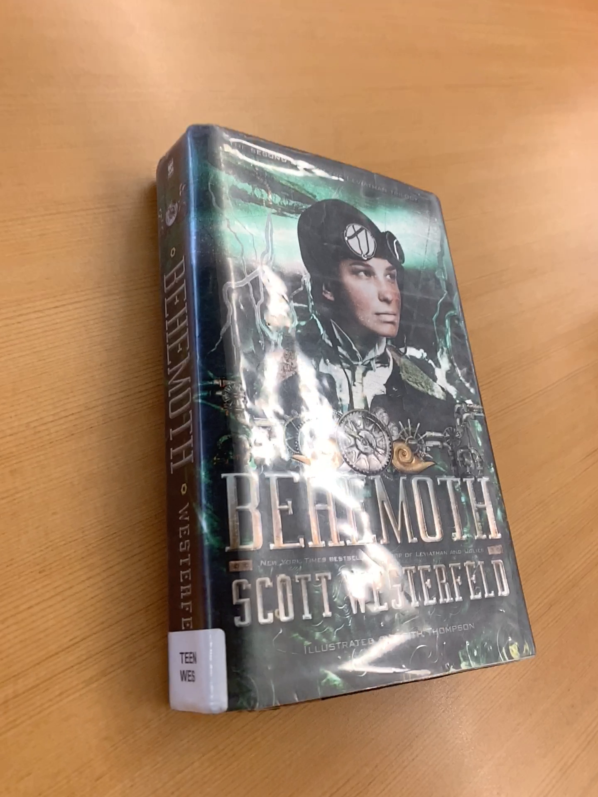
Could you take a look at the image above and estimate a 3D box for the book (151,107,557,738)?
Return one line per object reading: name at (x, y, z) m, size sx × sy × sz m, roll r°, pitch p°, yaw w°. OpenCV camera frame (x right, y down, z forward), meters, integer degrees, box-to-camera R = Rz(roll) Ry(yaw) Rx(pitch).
book at (0.017, 0.002, 0.281) m, size 0.151 × 0.050 × 0.241 m, roll 5°, pitch 68°, yaw -29°
